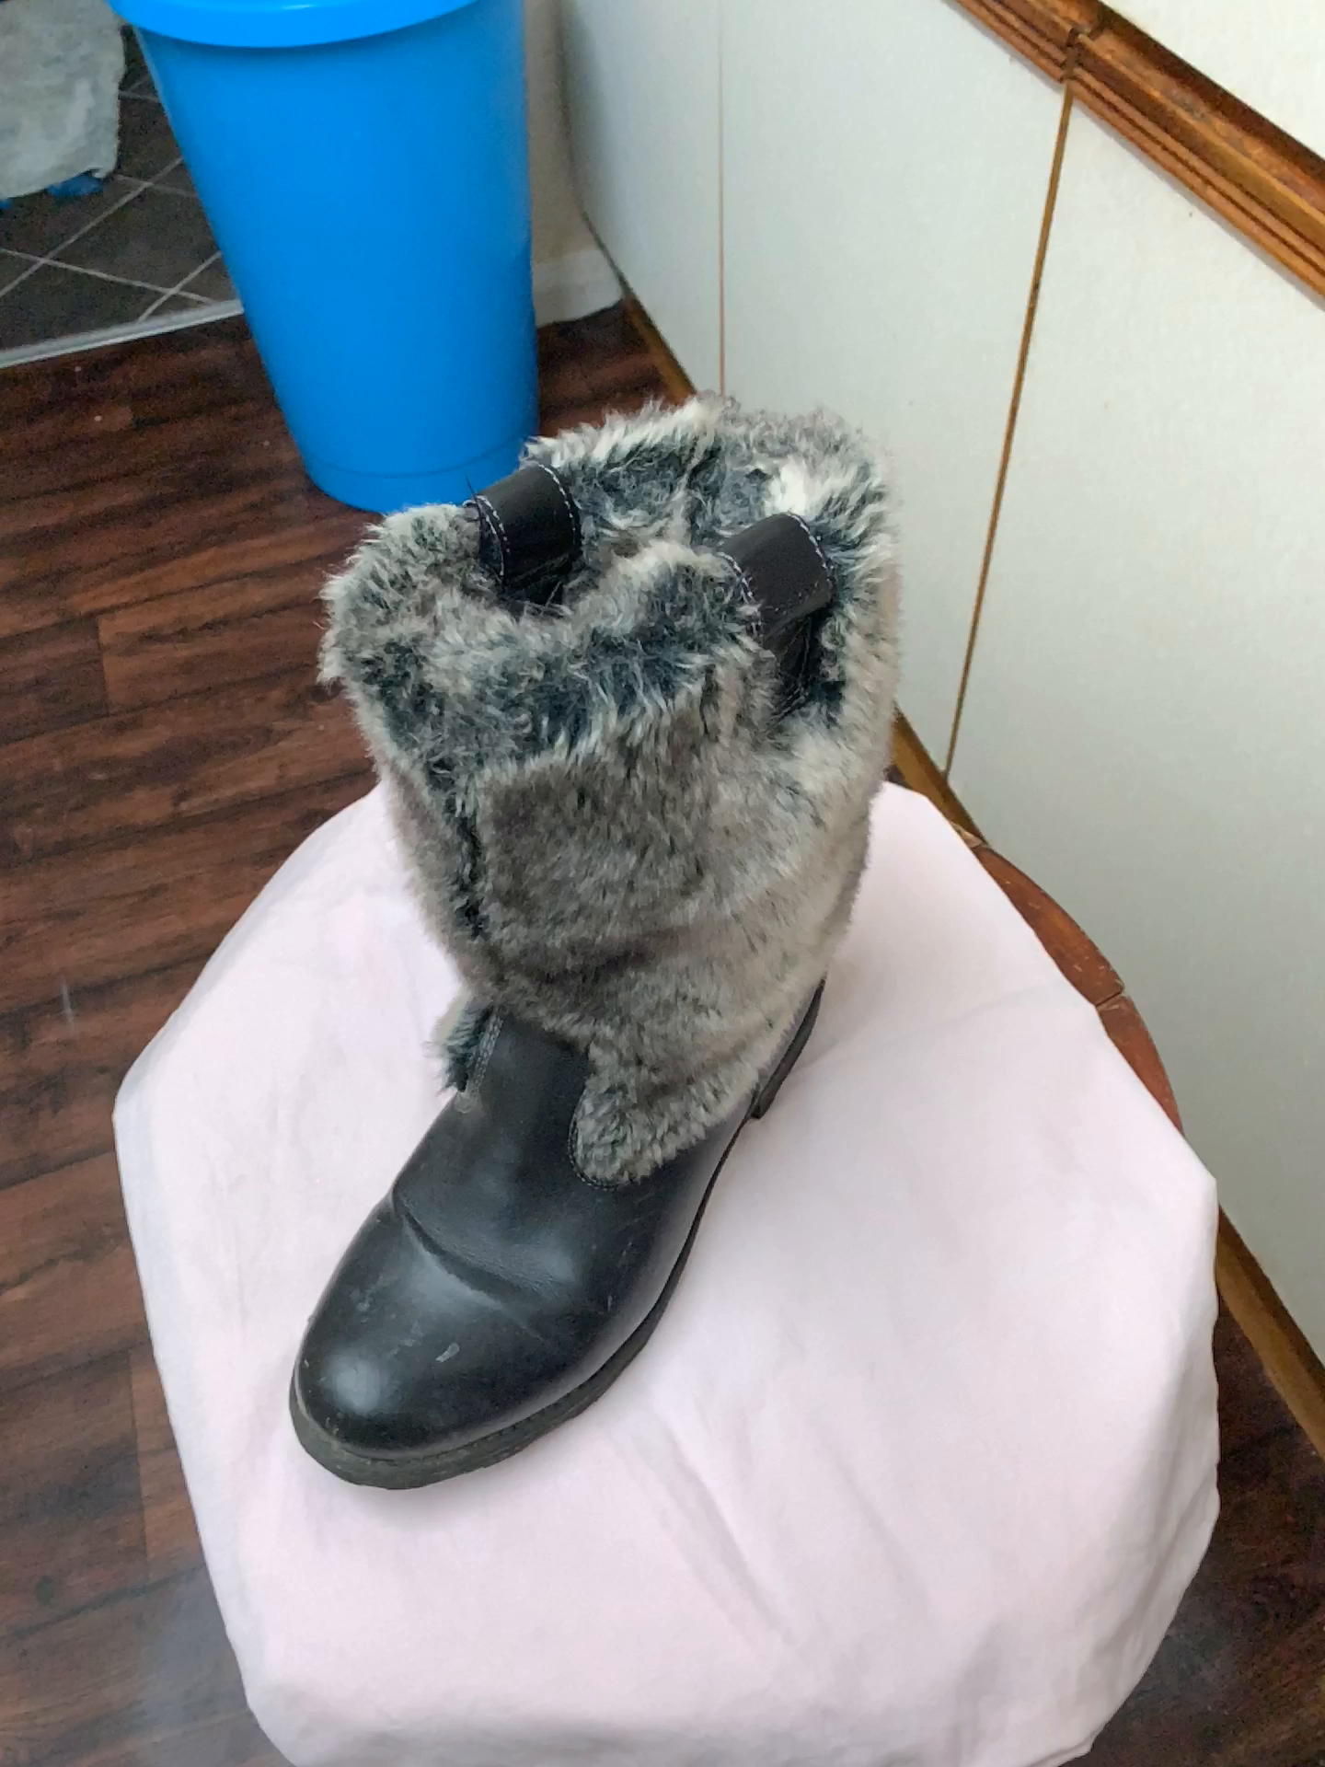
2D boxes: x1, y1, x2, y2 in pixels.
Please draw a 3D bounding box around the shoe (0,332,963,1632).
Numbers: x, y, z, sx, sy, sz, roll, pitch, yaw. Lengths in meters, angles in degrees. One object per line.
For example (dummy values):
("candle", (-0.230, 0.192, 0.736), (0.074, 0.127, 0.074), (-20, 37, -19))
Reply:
("shoe", (-0.046, 0.032, 0.394), (0.120, 0.238, 0.271), (28, 59, 22))
